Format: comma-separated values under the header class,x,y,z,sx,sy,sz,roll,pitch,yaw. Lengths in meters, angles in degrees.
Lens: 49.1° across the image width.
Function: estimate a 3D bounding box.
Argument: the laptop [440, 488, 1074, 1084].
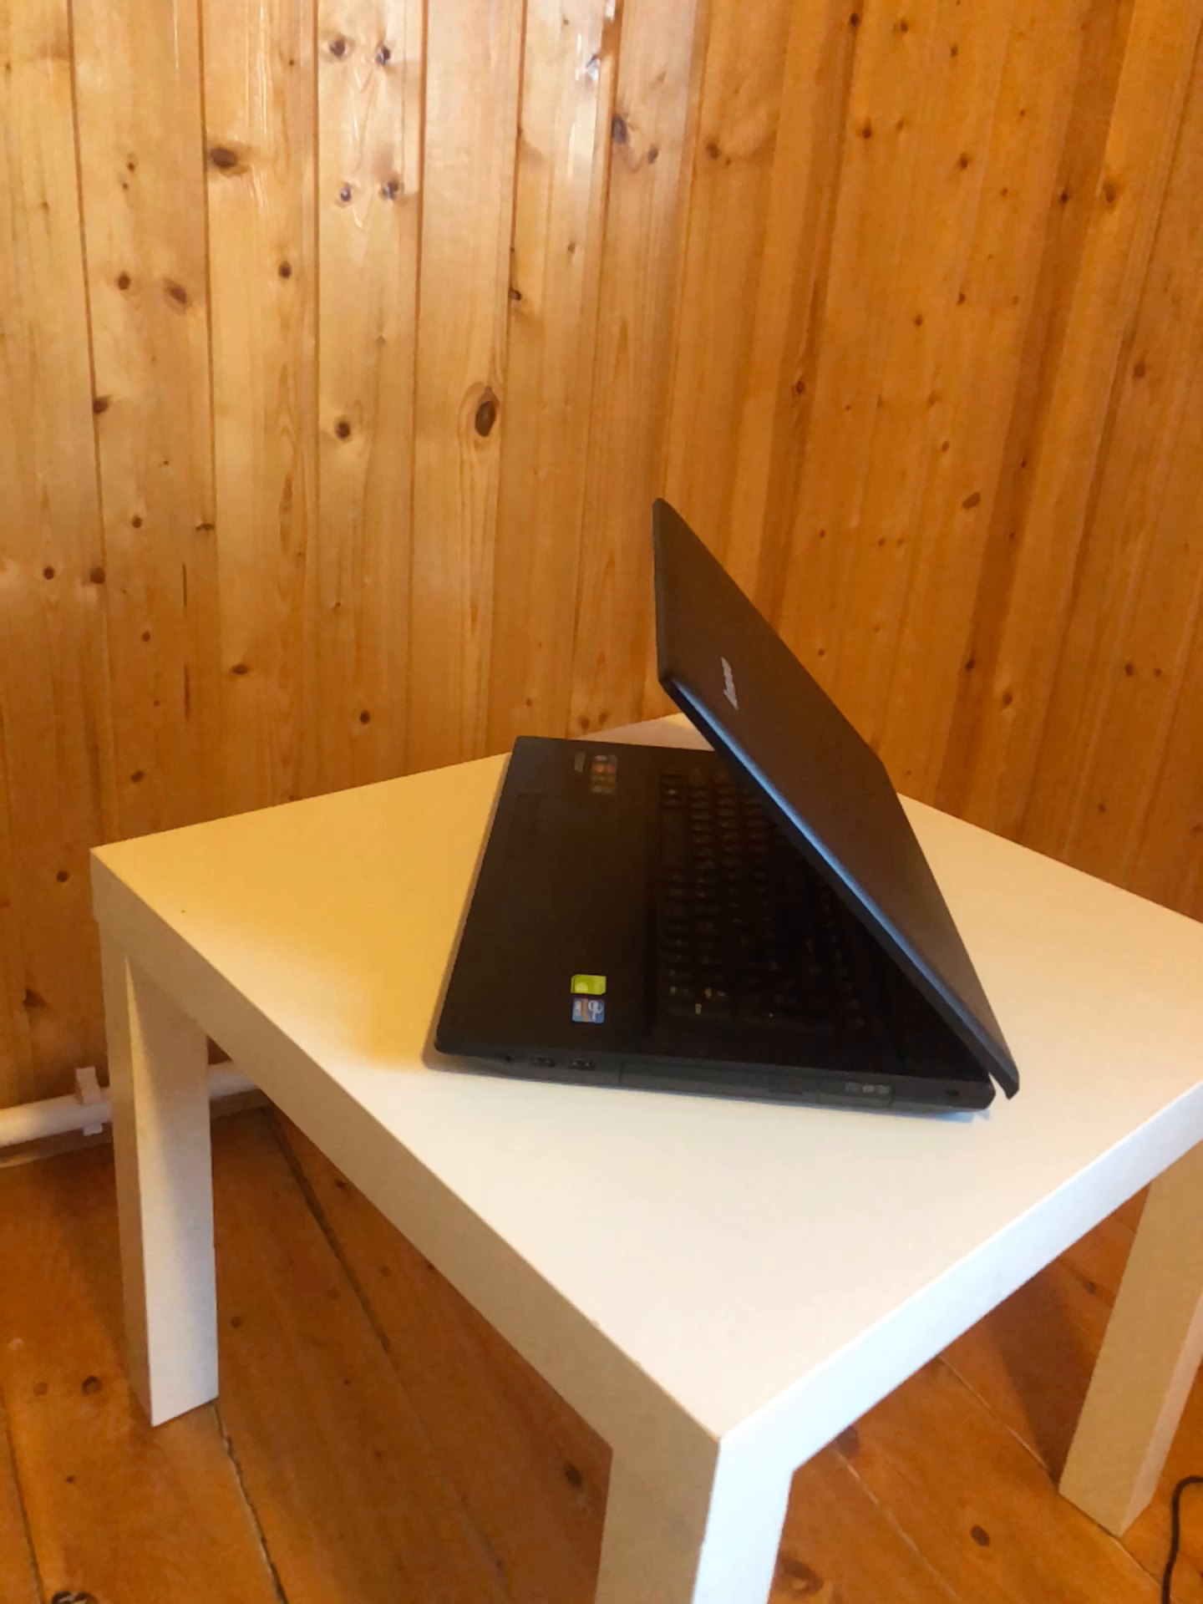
class,x,y,z,sx,sy,sz,roll,pitch,yaw
laptop,0.069,-0.042,0.764,0.260,0.179,0.391,5,24,0
